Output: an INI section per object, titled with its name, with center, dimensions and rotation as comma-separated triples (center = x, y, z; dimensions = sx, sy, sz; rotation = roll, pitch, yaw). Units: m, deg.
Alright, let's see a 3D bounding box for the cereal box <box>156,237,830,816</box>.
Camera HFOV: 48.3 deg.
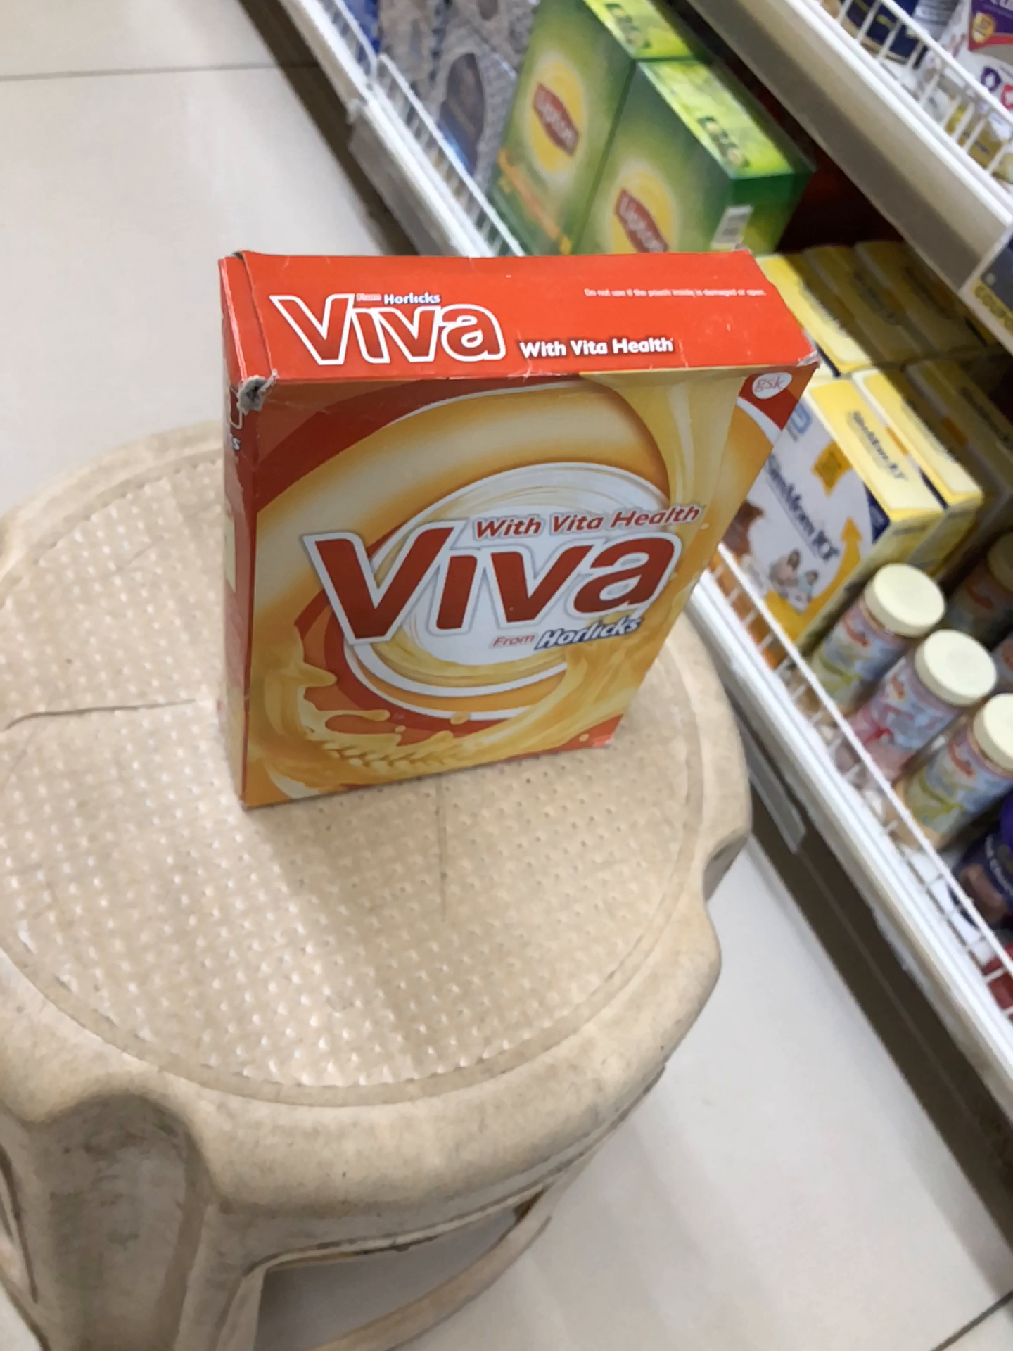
[cereal box]
center = -0.021, -0.036, 0.355
dimensions = 0.160, 0.199, 0.050
rotation = -9, 60, -21
